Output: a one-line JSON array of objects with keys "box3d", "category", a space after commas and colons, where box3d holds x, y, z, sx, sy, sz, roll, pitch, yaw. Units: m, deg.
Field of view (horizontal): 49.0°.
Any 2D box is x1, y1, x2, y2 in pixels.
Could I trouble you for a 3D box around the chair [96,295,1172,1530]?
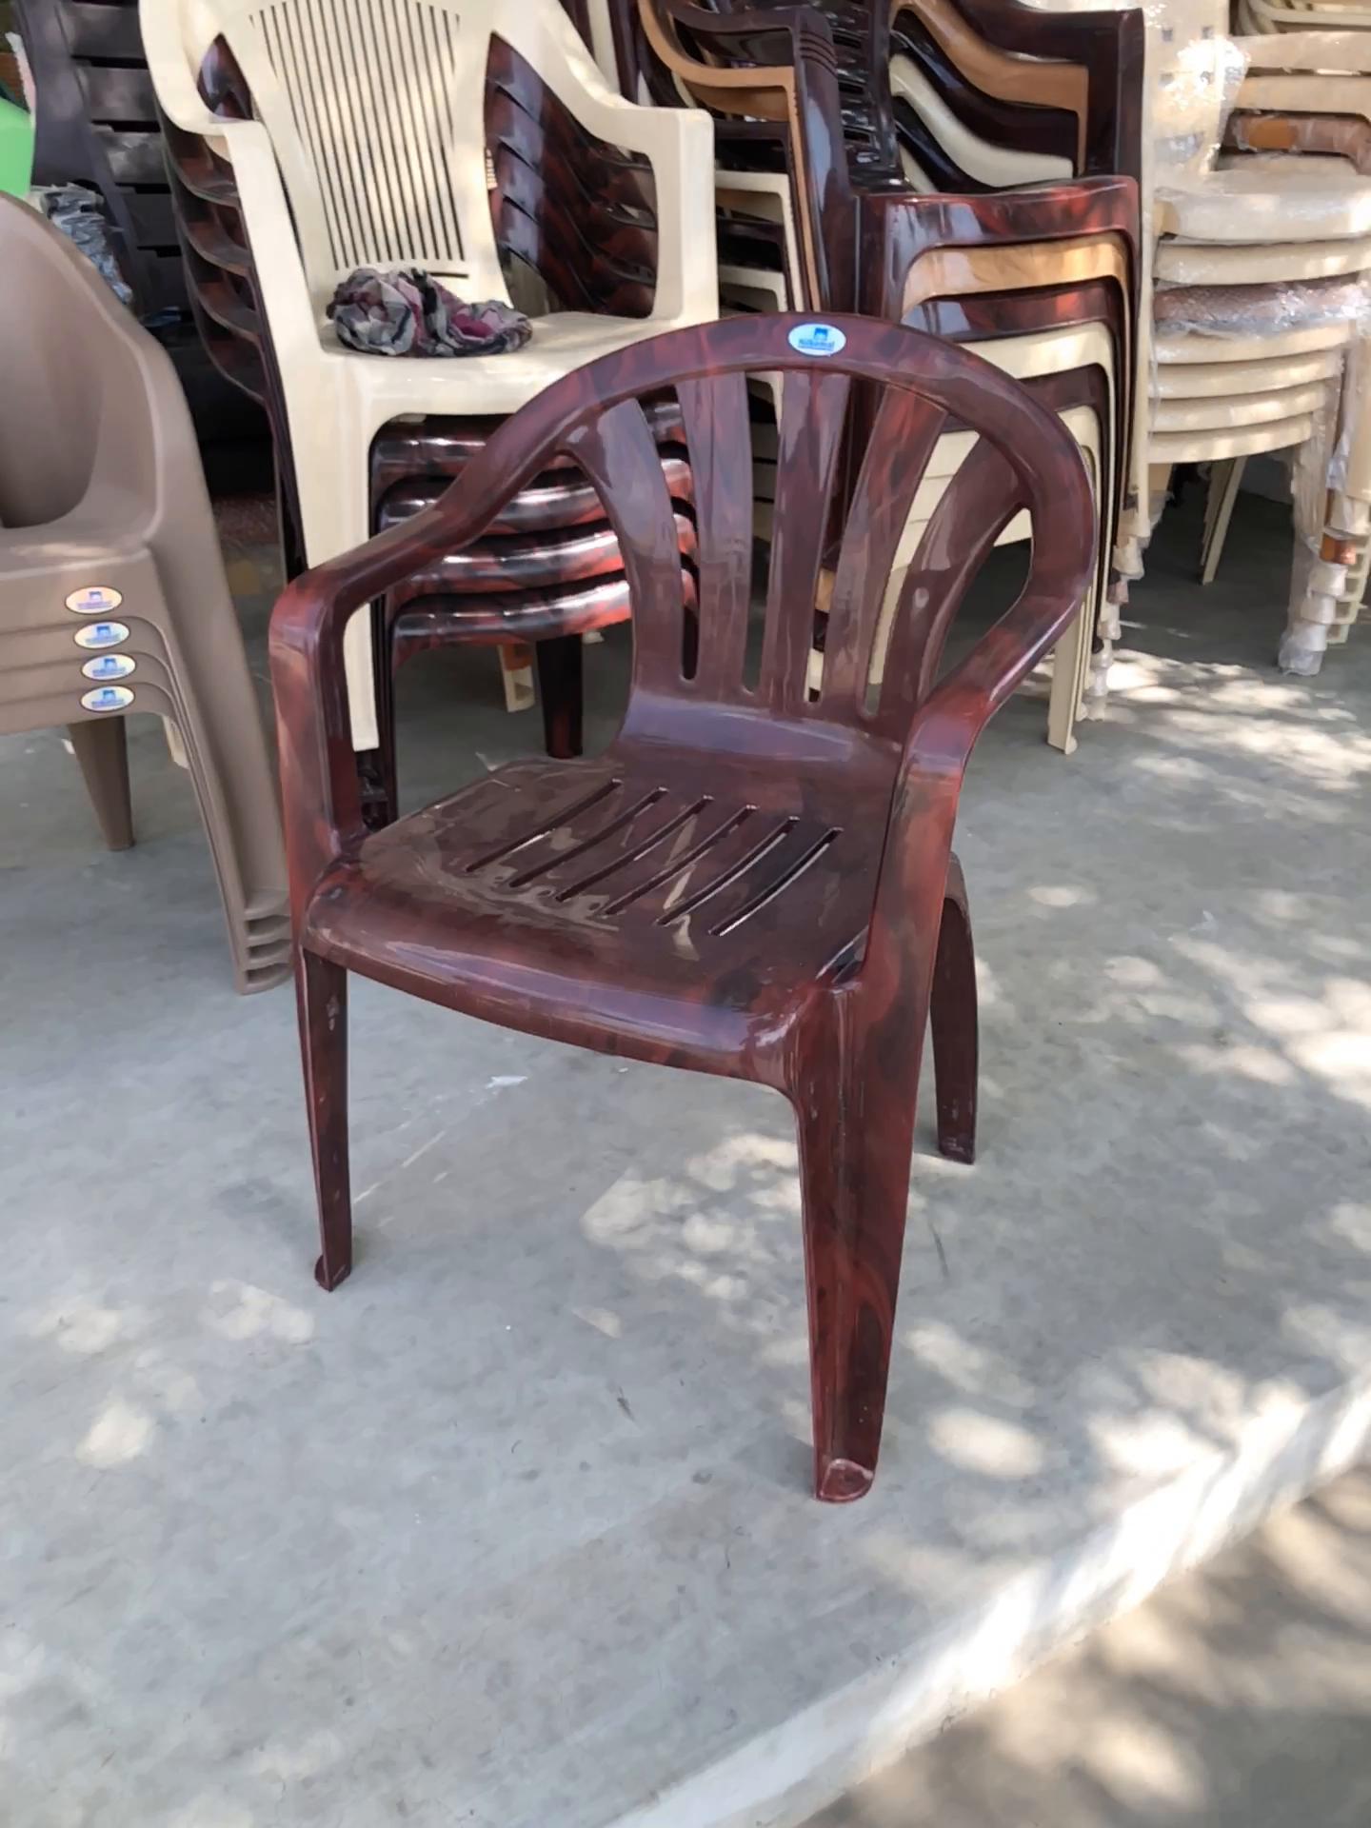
[{"box3d": [0.000, -0.056, 1.247, 0.580, 0.766, 0.523, 13, 32, 24], "category": "chair"}]
